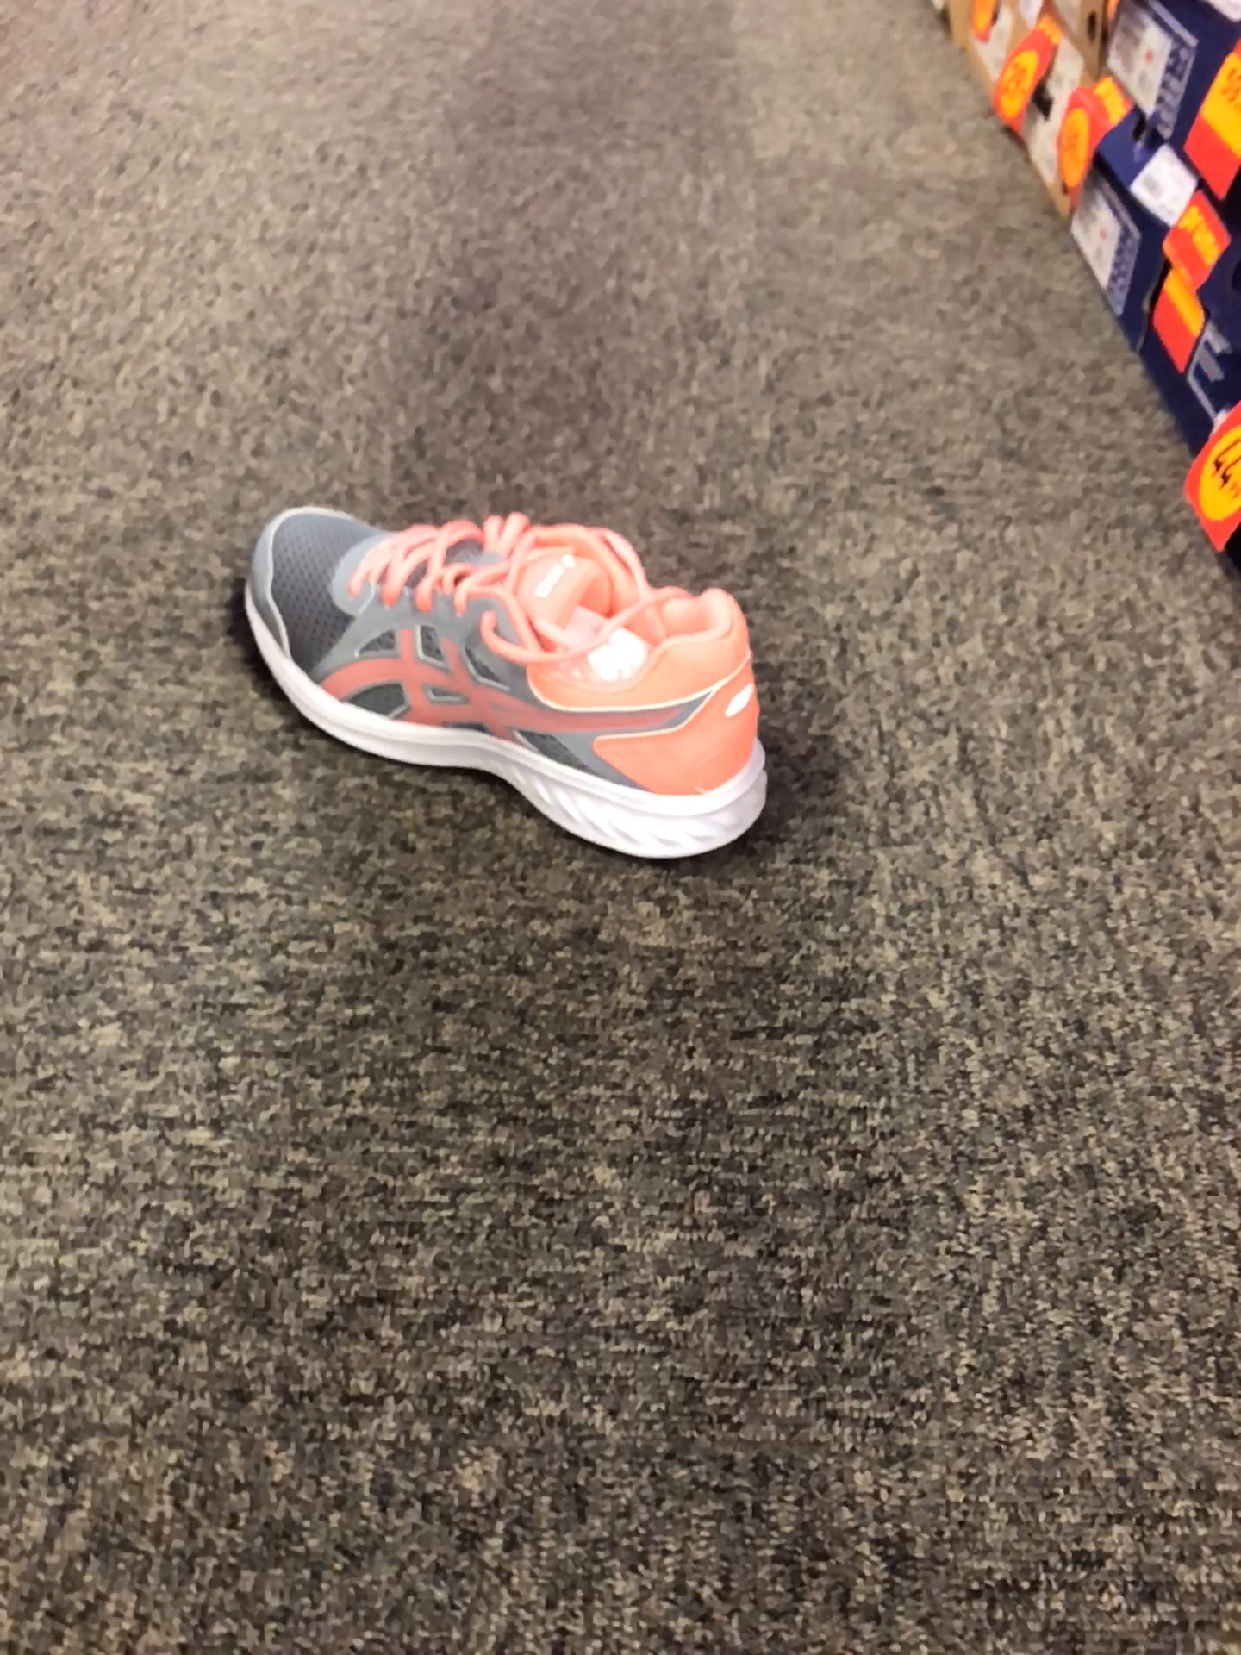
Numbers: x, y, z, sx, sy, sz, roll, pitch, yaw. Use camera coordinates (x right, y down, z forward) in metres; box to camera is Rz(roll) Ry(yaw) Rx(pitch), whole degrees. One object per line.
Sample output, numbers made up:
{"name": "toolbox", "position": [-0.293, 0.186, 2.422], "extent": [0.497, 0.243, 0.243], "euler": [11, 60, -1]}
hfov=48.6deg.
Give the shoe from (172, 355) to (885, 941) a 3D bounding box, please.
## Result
{"name": "shoe", "position": [-0.040, -0.080, 0.558], "extent": [0.250, 0.109, 0.111], "euler": [27, 49, 19]}
